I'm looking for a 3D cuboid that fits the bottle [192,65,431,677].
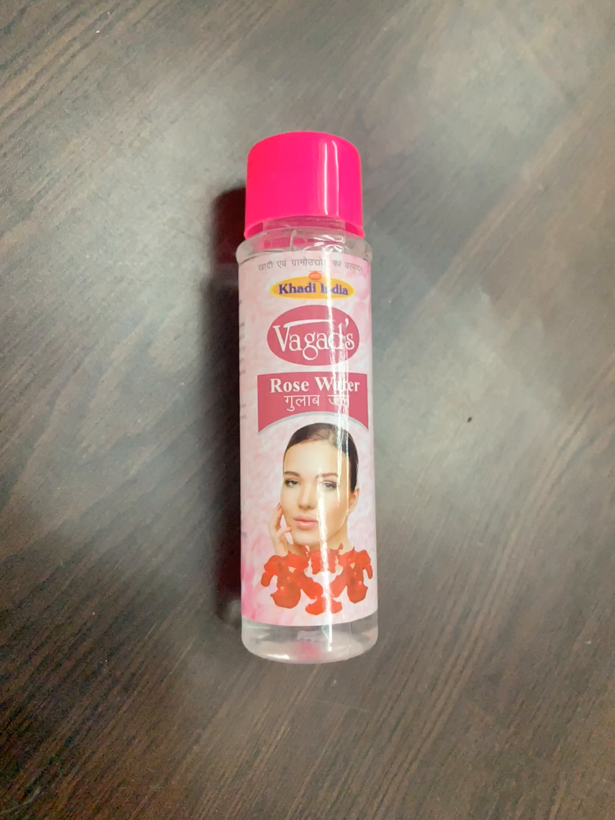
[{"bbox_3d":[-0.001,-0.009,0.175,0.050,0.040,0.140,2,89,-20],"label":"bottle"}]
